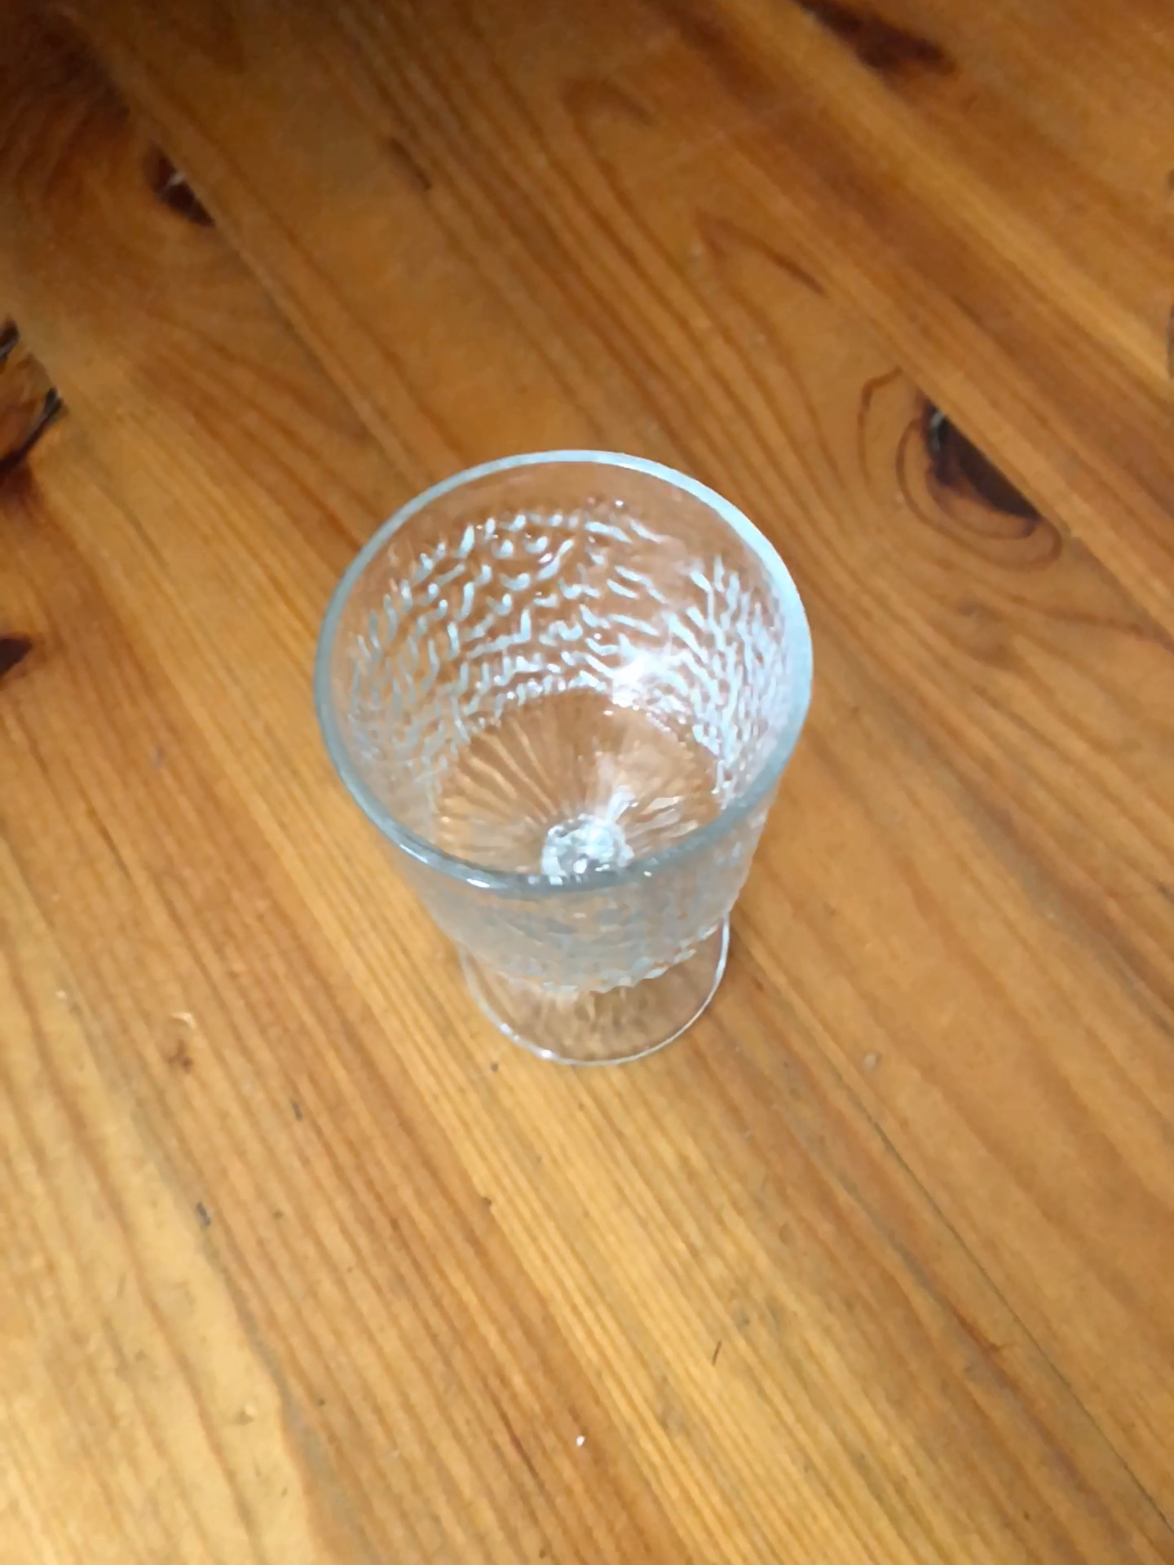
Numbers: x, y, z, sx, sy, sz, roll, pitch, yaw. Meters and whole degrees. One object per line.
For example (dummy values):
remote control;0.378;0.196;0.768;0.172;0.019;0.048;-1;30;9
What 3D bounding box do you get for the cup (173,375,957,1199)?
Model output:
cup;-0.002;0.013;0.248;0.082;0.134;0.080;-1;66;2
